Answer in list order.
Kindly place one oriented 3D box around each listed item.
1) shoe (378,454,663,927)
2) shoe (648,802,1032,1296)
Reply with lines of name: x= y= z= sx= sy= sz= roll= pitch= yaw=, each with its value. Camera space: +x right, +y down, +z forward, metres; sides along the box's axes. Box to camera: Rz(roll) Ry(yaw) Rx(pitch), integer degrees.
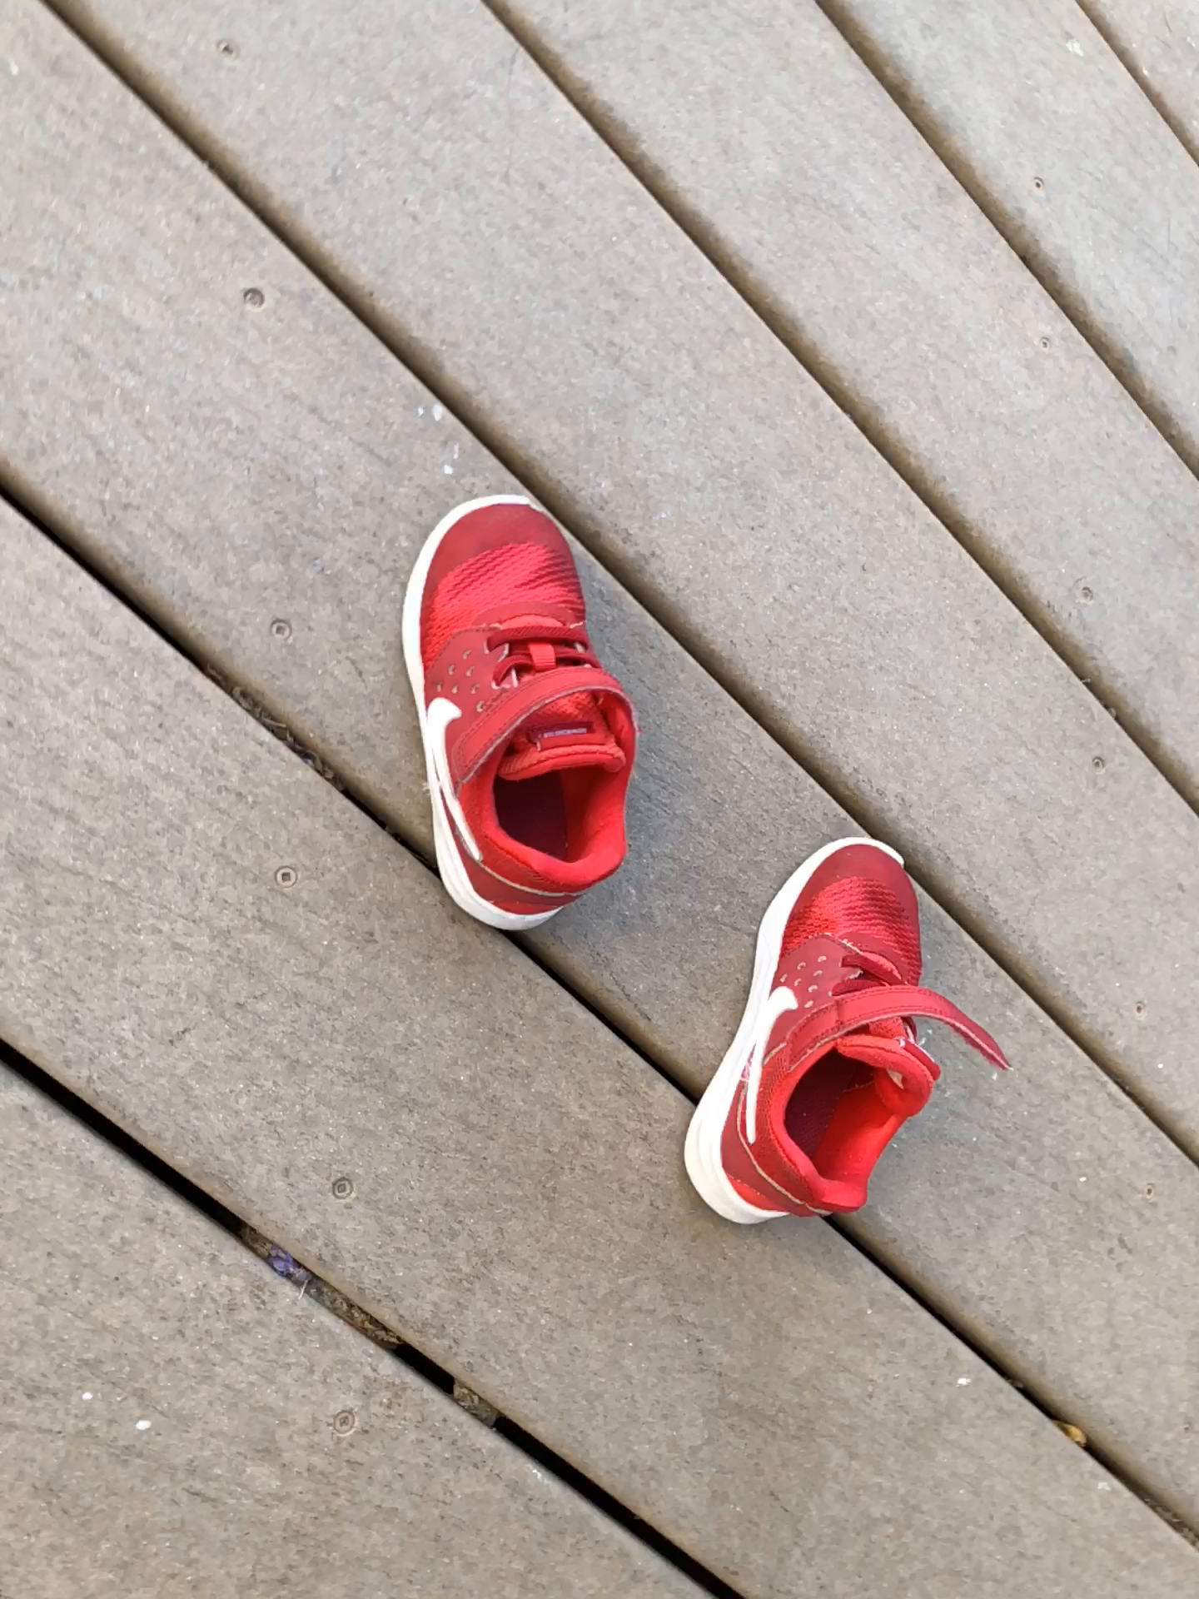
shoe: x=-0.031 y=-0.034 z=0.472 sx=0.073 sy=0.069 sz=0.153 roll=-1 pitch=84 yaw=-26
shoe: x=0.095 y=0.093 z=0.515 sx=0.070 sy=0.069 sz=0.164 roll=31 pitch=71 yaw=-19
